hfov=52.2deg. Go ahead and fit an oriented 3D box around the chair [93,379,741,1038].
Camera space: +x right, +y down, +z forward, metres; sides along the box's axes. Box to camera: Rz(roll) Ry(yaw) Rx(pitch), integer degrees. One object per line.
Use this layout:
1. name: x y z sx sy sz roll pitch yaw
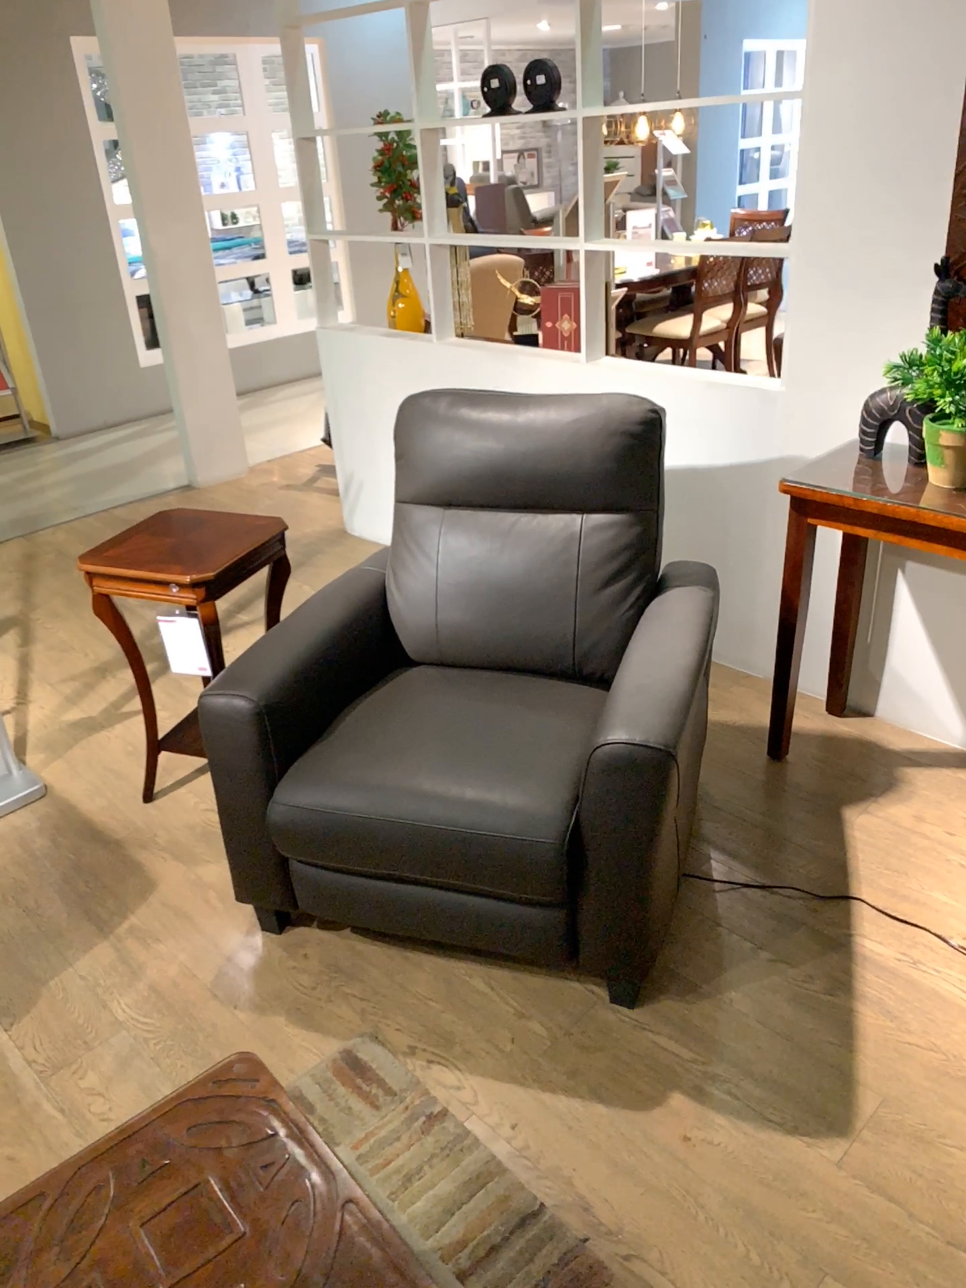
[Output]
1. chair: -0.015 0.028 2.053 0.941 0.926 0.923 6 29 18
